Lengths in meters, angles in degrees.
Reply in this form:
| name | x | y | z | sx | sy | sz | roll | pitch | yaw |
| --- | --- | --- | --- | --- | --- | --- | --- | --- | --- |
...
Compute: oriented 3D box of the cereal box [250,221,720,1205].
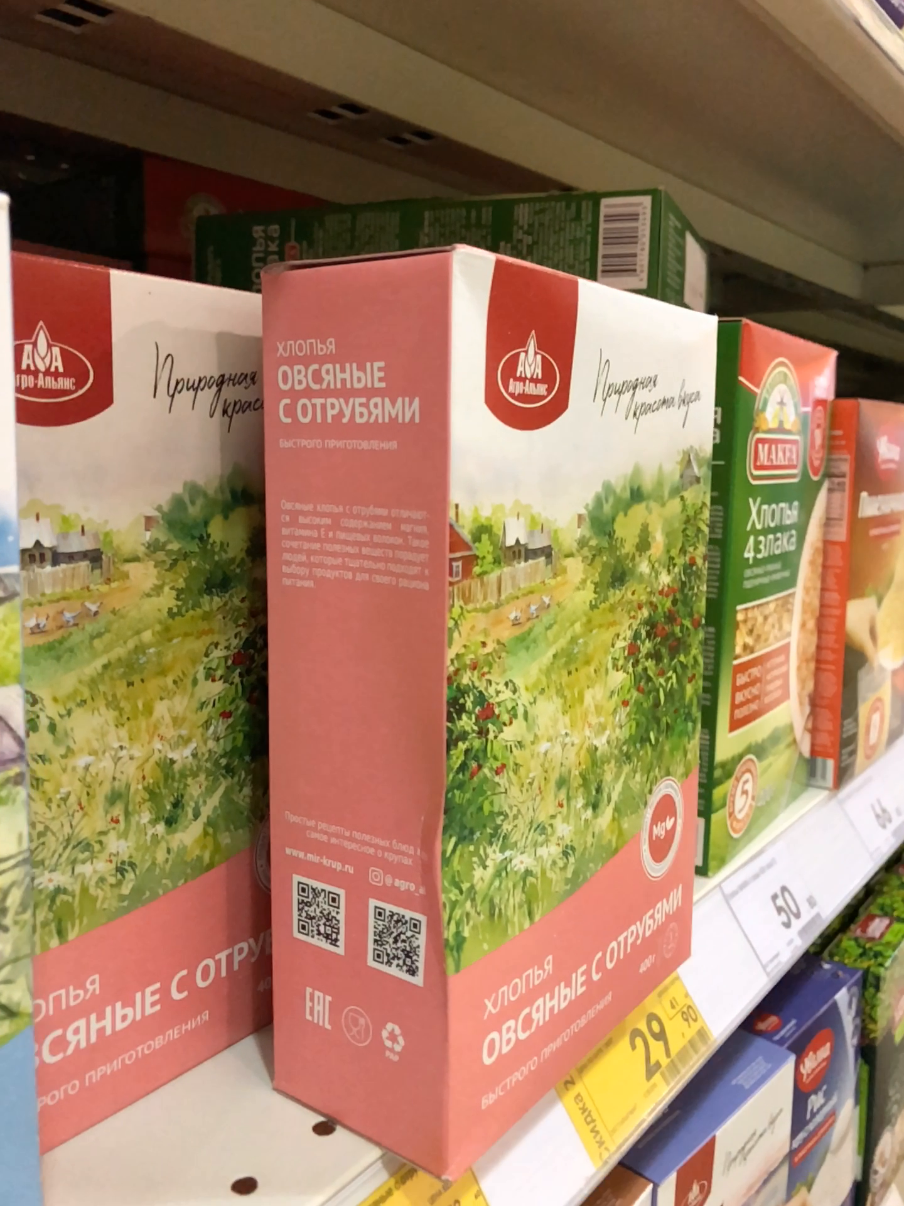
| name | x | y | z | sx | sy | sz | roll | pitch | yaw |
| --- | --- | --- | --- | --- | --- | --- | --- | --- | --- |
| cereal box | 0.016 | 0.020 | 0.276 | 0.060 | 0.210 | 0.130 | 6 | 9 | 36 |
